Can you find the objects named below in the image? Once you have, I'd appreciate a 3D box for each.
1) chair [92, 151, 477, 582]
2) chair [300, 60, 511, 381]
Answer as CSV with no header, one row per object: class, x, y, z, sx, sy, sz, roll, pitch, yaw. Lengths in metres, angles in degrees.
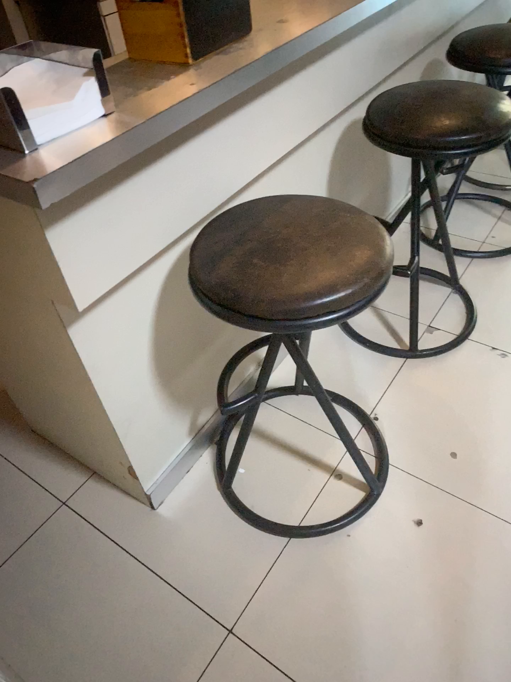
chair,0.102,0.047,1.255,0.547,0.727,0.552,21,50,27
chair,0.519,-0.393,1.651,0.527,0.727,0.552,21,50,27
